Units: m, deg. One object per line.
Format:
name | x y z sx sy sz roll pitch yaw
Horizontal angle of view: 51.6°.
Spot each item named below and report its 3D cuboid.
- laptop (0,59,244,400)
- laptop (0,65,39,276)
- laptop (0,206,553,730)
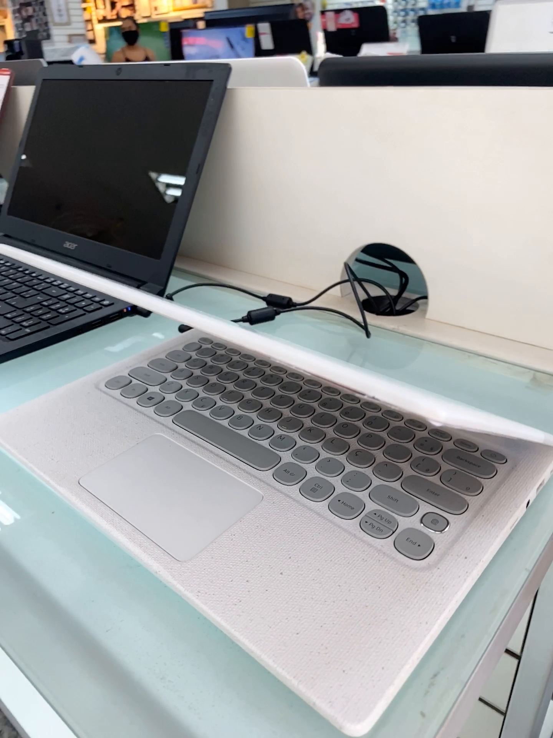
laptop | -0.316 -0.199 0.620 0.401 0.213 0.375 22 36 38
laptop | -0.630 -0.324 0.852 0.309 0.199 0.368 21 37 34
laptop | -0.019 -0.004 0.338 0.312 0.108 0.206 20 37 38
